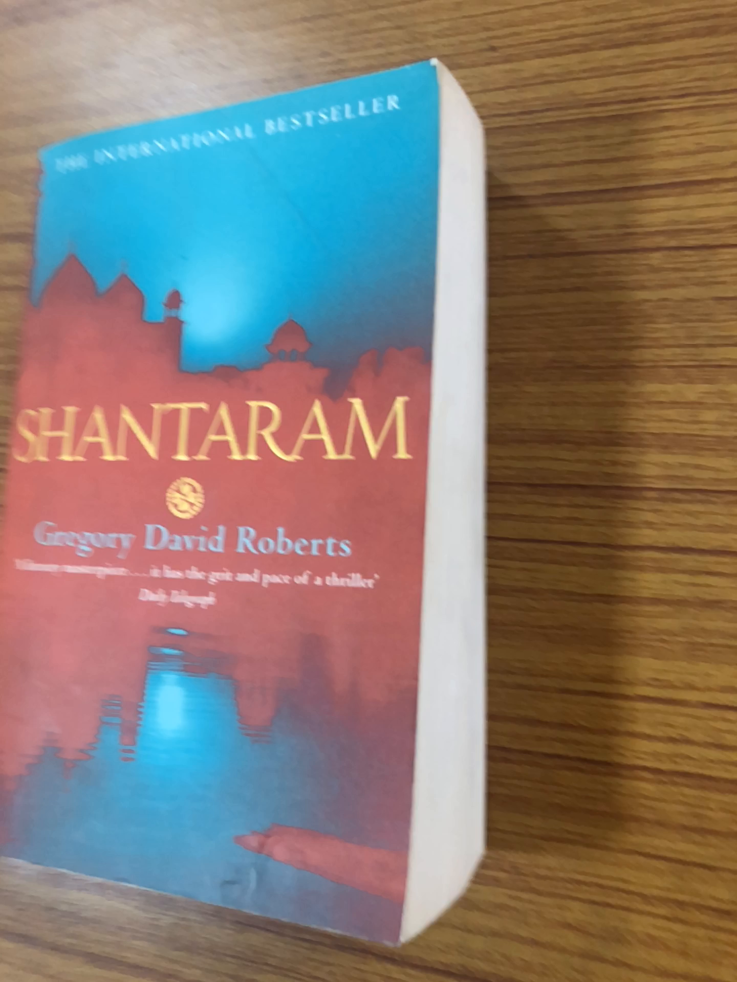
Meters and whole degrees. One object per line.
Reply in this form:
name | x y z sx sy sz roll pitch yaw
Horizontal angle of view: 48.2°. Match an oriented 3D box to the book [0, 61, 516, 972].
book | -0.041 0.003 0.221 0.150 0.050 0.190 -1 82 21
